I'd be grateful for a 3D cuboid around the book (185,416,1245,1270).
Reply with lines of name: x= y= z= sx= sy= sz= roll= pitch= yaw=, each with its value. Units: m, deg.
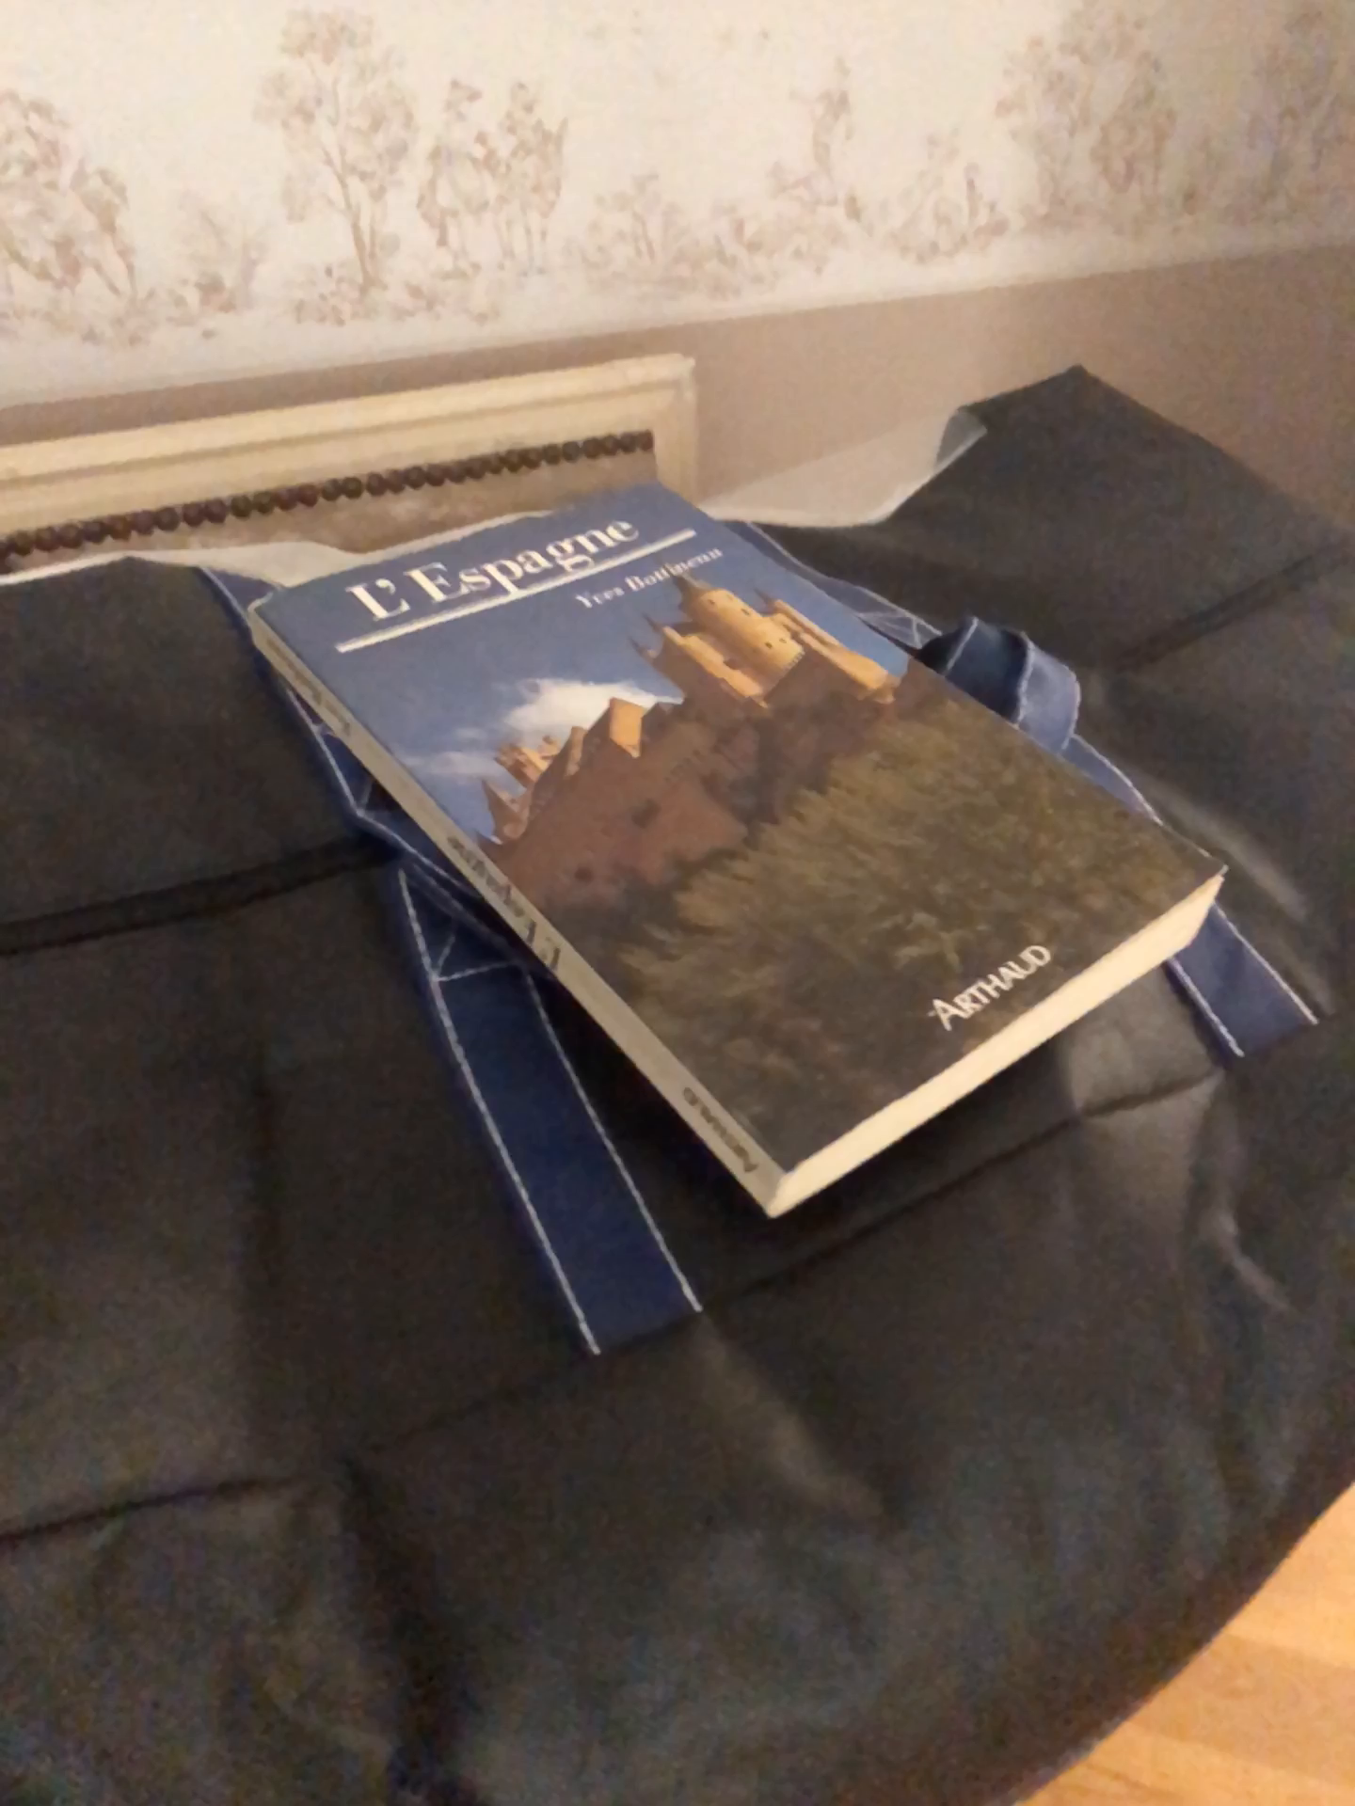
book: x=0.003 y=-0.042 z=0.418 sx=0.171 sy=0.030 sz=0.250 roll=-29 pitch=58 yaw=-29
